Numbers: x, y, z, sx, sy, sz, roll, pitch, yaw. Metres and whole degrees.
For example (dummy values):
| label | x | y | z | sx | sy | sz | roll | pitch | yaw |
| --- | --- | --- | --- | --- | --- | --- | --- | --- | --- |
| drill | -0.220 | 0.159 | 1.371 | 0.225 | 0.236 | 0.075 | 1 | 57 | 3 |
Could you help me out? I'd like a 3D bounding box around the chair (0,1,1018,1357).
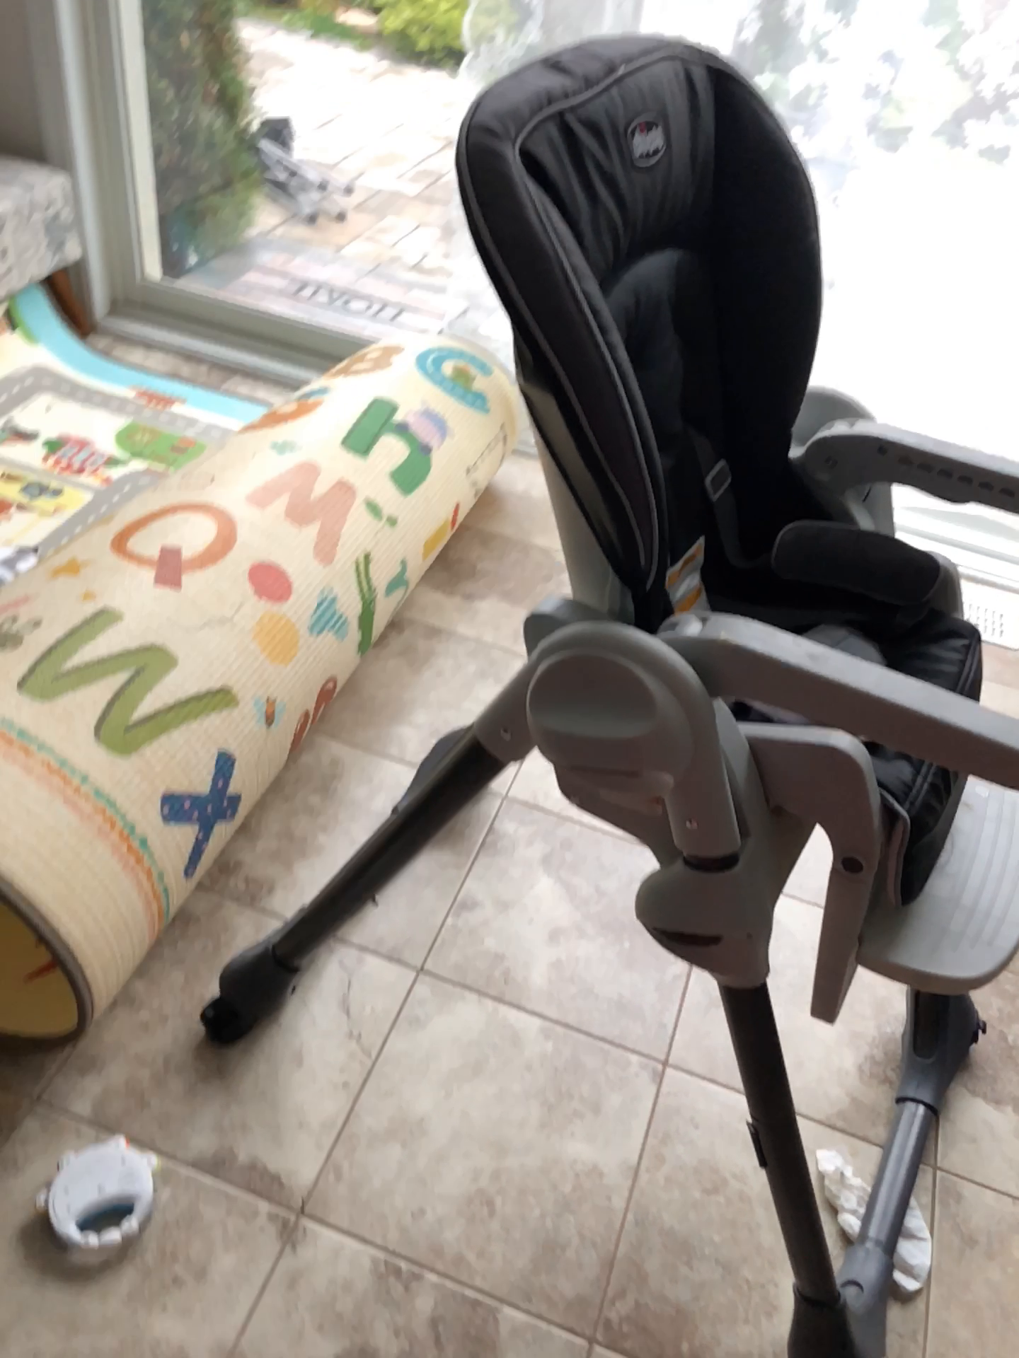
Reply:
| label | x | y | z | sx | sy | sz | roll | pitch | yaw |
| --- | --- | --- | --- | --- | --- | --- | --- | --- | --- |
| chair | 0.168 | 0.065 | 1.052 | 0.880 | 0.996 | 0.652 | 24 | 43 | 17 |
